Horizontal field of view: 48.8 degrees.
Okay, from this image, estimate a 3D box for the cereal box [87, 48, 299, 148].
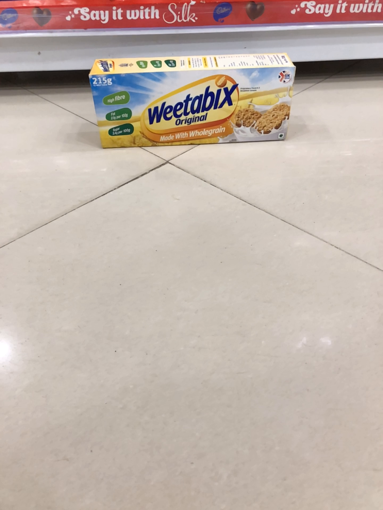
[{"bbox_3d":[0.002,-0.204,0.553,0.250,0.099,0.060,-3,42,-2],"label":"cereal box"}]
